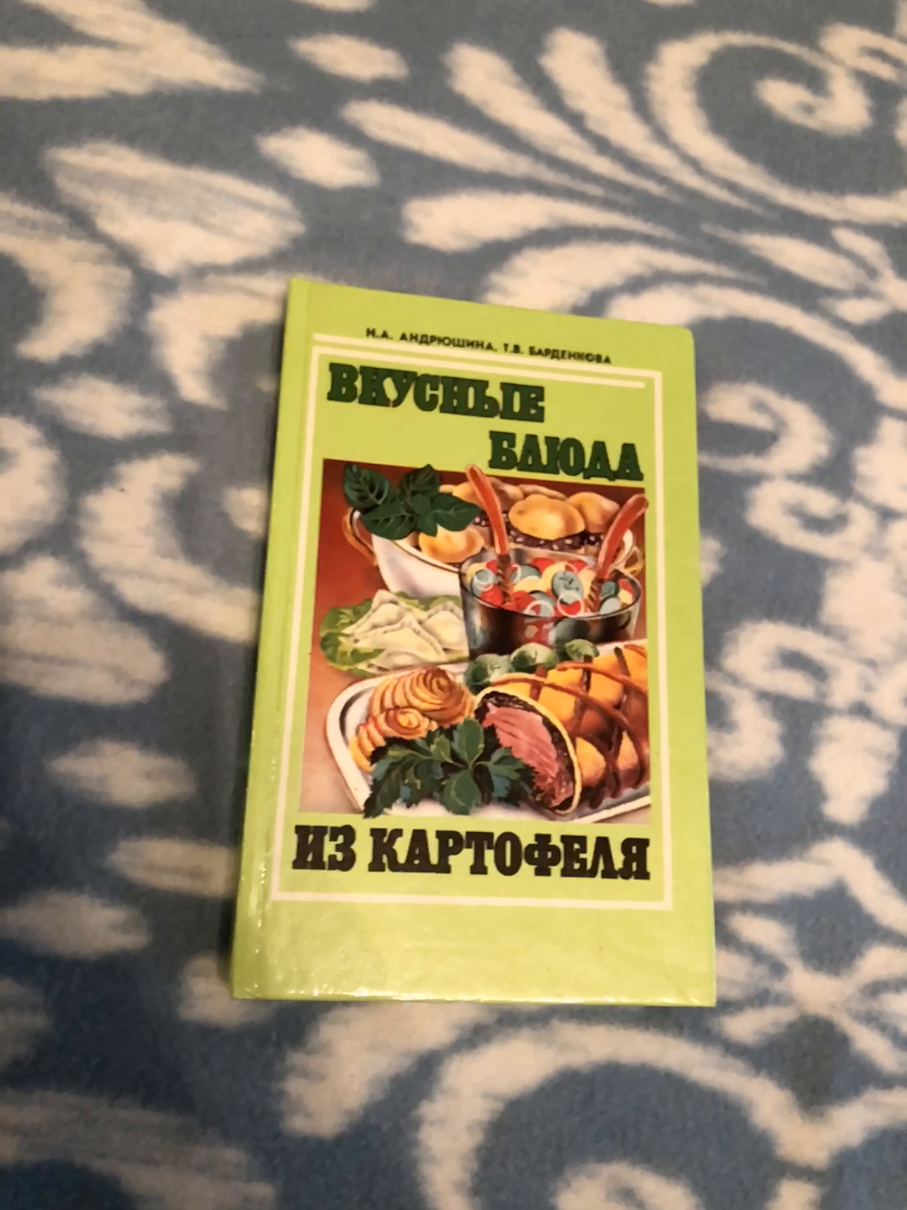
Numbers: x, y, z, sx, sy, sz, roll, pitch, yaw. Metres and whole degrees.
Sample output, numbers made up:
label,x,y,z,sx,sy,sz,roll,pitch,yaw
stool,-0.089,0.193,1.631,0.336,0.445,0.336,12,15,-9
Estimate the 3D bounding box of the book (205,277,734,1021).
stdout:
label,x,y,z,sx,sy,sz,roll,pitch,yaw
book,0.009,0.010,0.293,0.135,0.025,0.201,5,75,-9
